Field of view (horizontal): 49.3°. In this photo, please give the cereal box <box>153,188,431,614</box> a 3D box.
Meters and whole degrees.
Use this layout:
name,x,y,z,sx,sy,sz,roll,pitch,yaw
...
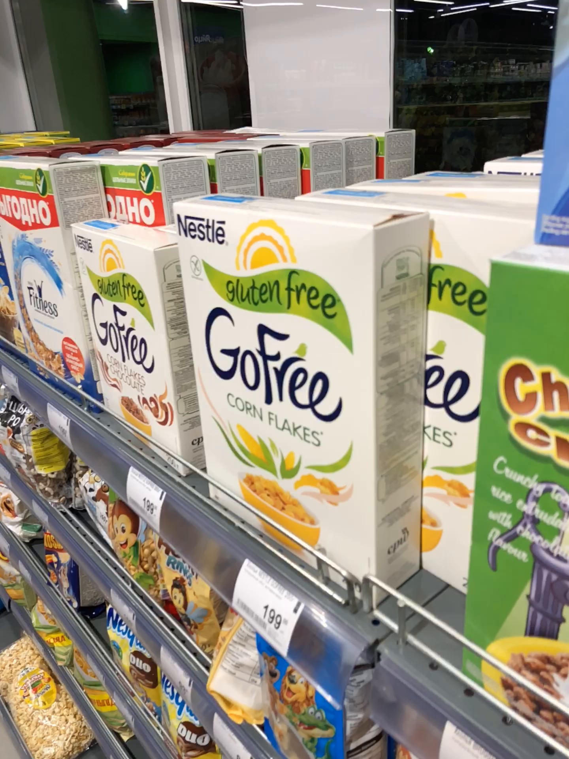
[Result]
name,x,y,z,sx,sy,sz,roll,pitch,yaw
cereal box,0.002,0.003,0.435,0.060,0.249,0.191,-22,29,-37
